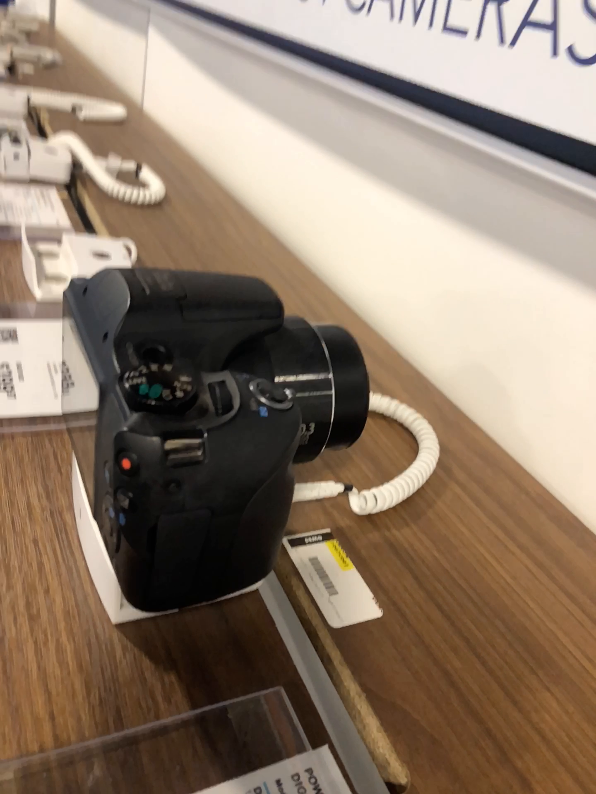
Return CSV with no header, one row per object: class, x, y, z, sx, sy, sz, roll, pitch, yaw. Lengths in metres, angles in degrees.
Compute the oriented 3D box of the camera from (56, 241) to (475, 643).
camera,-0.024,0.004,0.246,0.101,0.079,0.121,-5,35,-30
